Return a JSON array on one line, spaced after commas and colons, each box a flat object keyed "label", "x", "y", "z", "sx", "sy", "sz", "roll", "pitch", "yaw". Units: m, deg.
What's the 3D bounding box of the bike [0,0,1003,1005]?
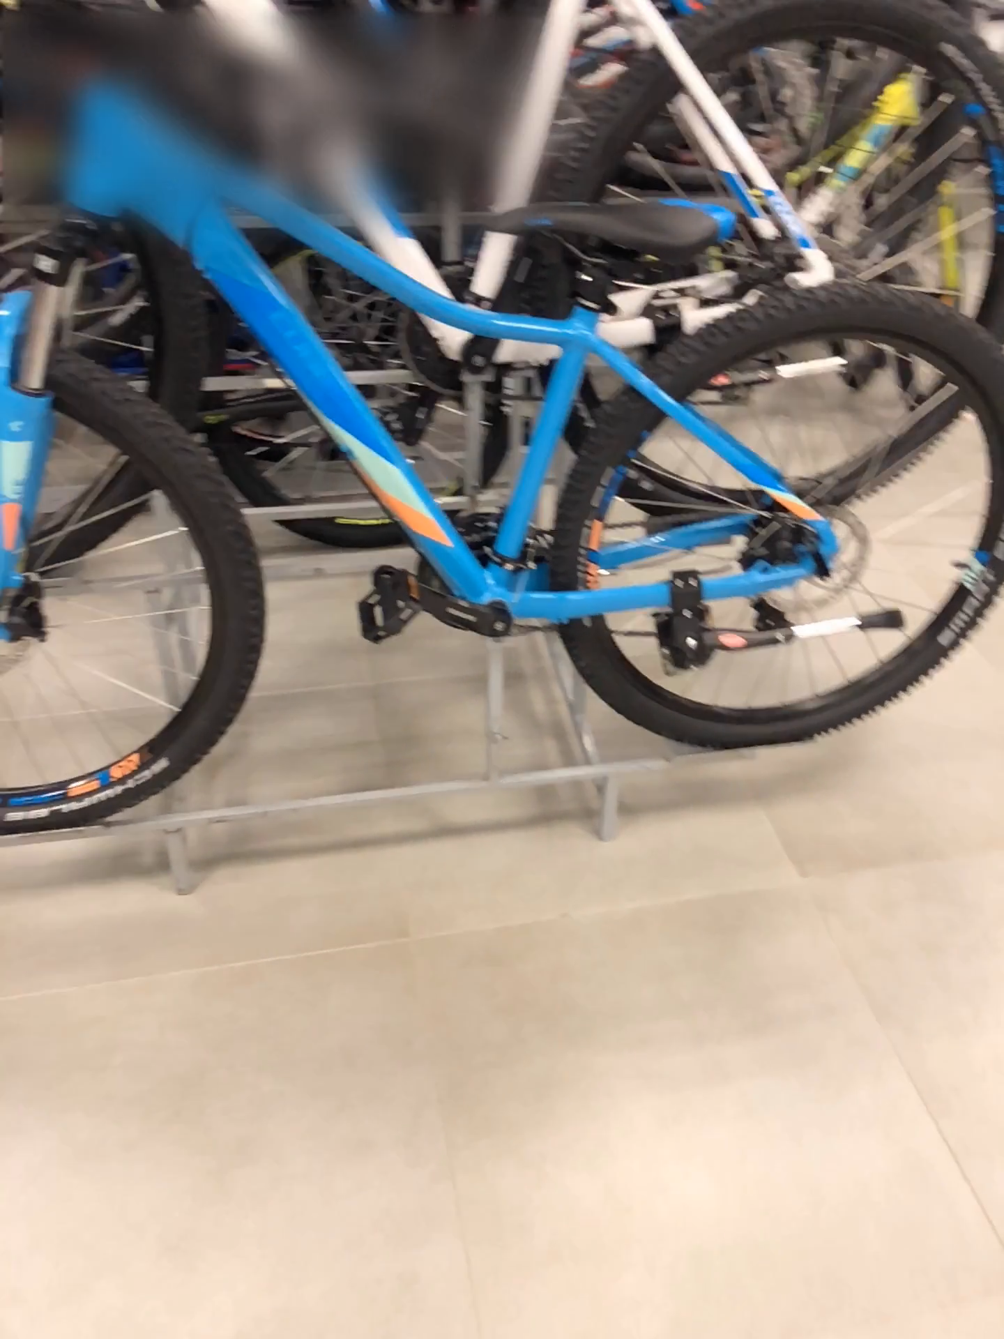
[{"label": "bike", "x": -0.141, "y": -0.308, "z": 1.358, "sx": 1.702, "sy": 1.082, "sz": 0.633, "roll": -6, "pitch": 37, "yaw": -10}]
